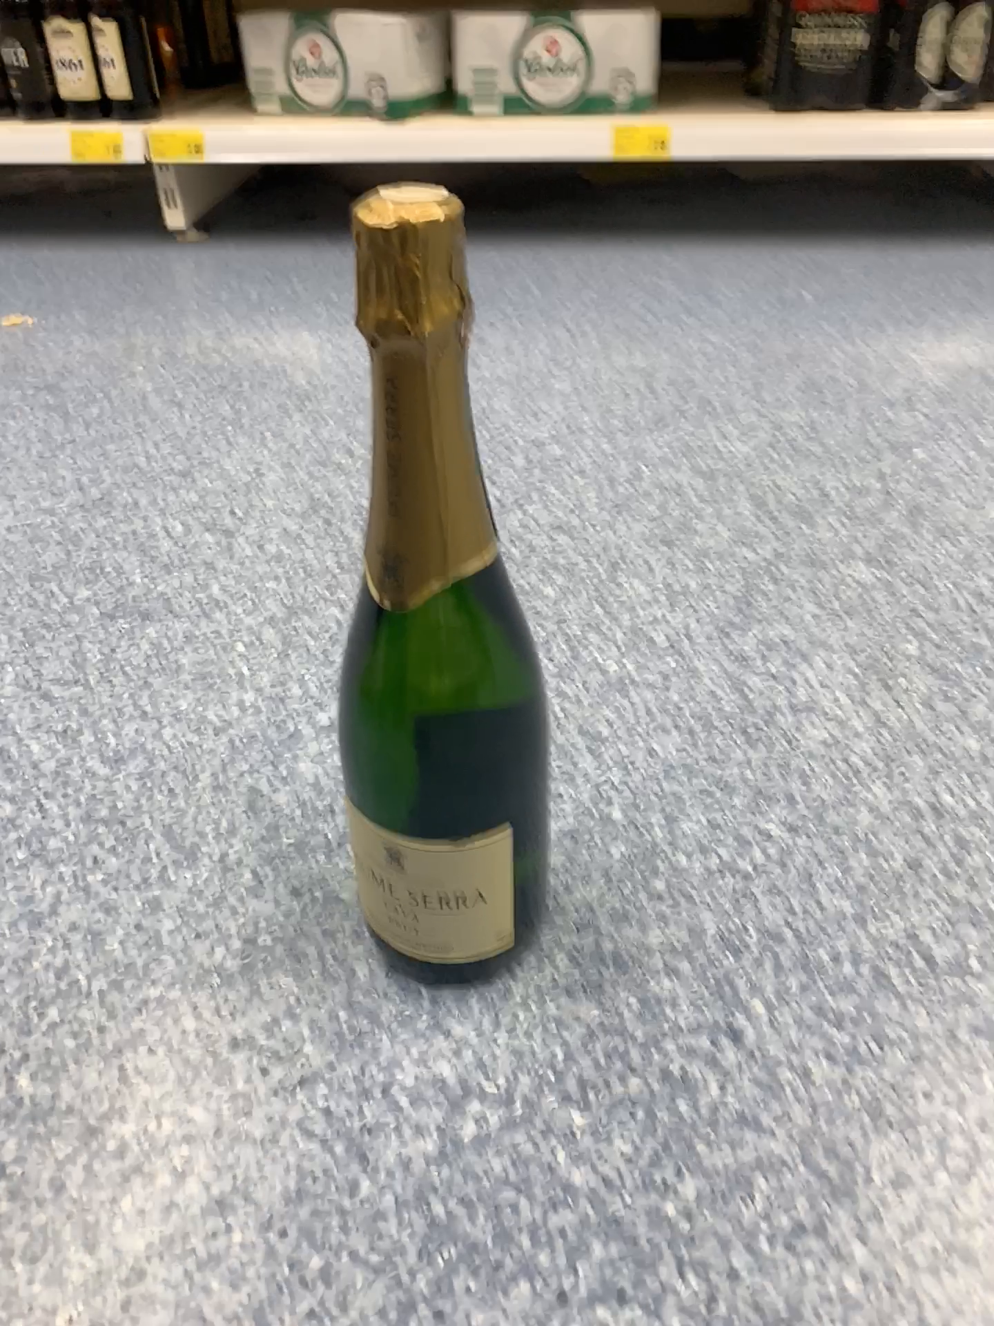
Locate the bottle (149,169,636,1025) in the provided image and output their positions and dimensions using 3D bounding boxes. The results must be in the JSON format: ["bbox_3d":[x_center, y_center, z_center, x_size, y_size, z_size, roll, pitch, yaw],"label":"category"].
[{"bbox_3d":[-0.023,-0.013,0.384,0.104,0.291,0.105,-1,36,1],"label":"bottle"}]
